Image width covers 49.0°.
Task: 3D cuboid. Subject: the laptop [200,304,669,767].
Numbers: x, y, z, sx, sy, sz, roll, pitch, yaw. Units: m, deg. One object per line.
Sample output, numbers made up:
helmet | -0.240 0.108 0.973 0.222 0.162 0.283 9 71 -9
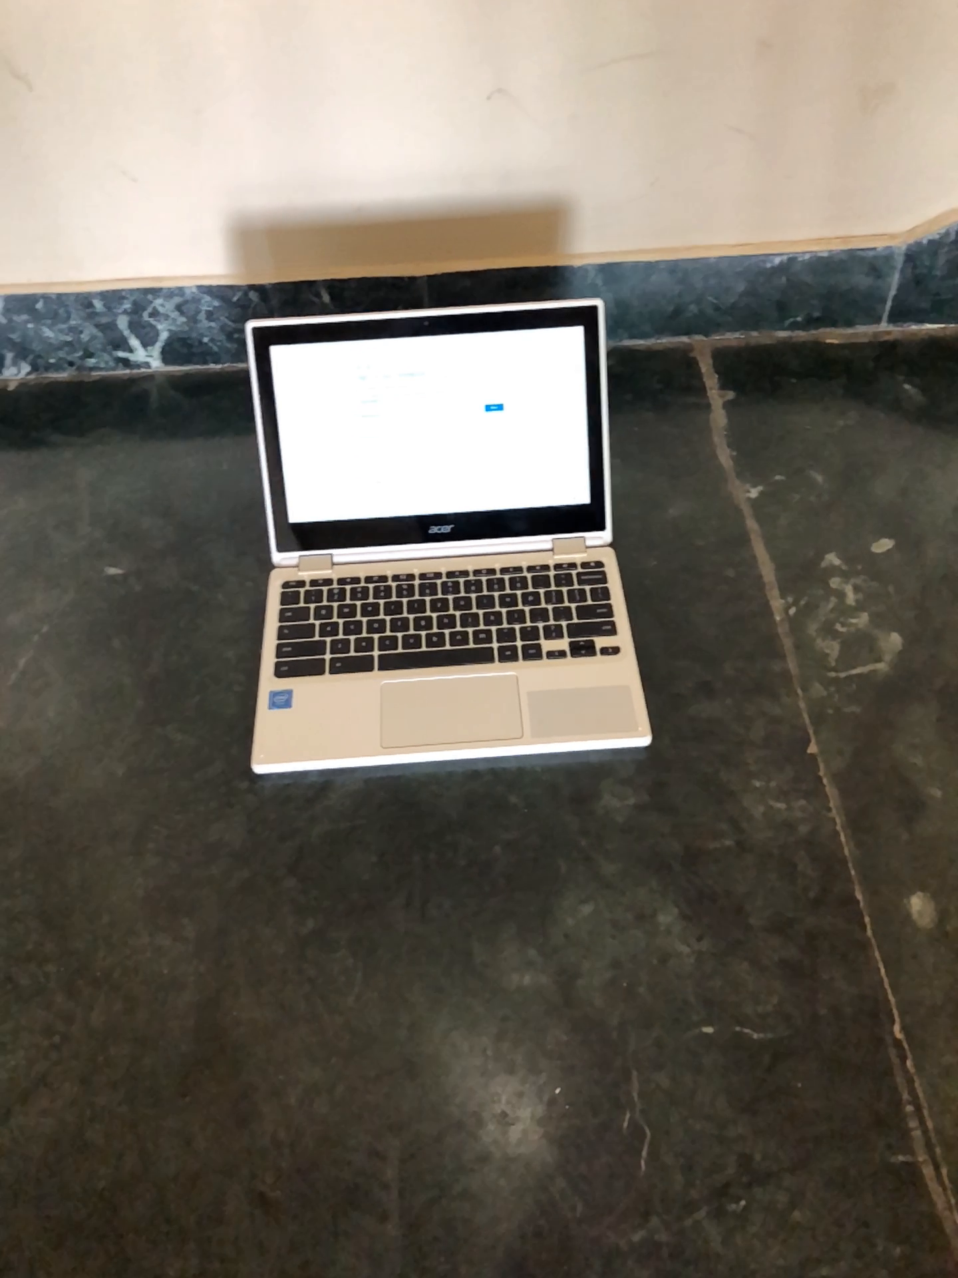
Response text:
laptop | -0.032 -0.088 0.791 0.280 0.156 0.315 -4 49 -1
